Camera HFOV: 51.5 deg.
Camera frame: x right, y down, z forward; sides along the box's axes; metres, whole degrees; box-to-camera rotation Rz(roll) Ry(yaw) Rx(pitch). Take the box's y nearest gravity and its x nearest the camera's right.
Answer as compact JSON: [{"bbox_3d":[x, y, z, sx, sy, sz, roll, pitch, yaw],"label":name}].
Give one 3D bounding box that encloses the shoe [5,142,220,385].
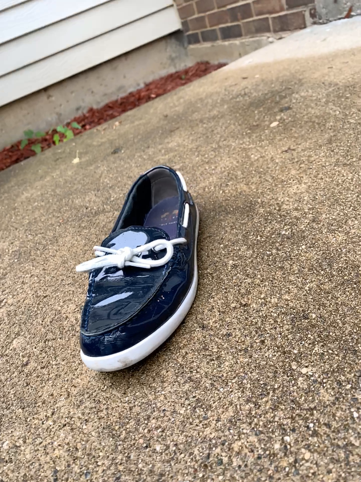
[{"bbox_3d":[-0.037,0.003,0.359,0.101,0.083,0.246,-9,33,21],"label":"shoe"}]
